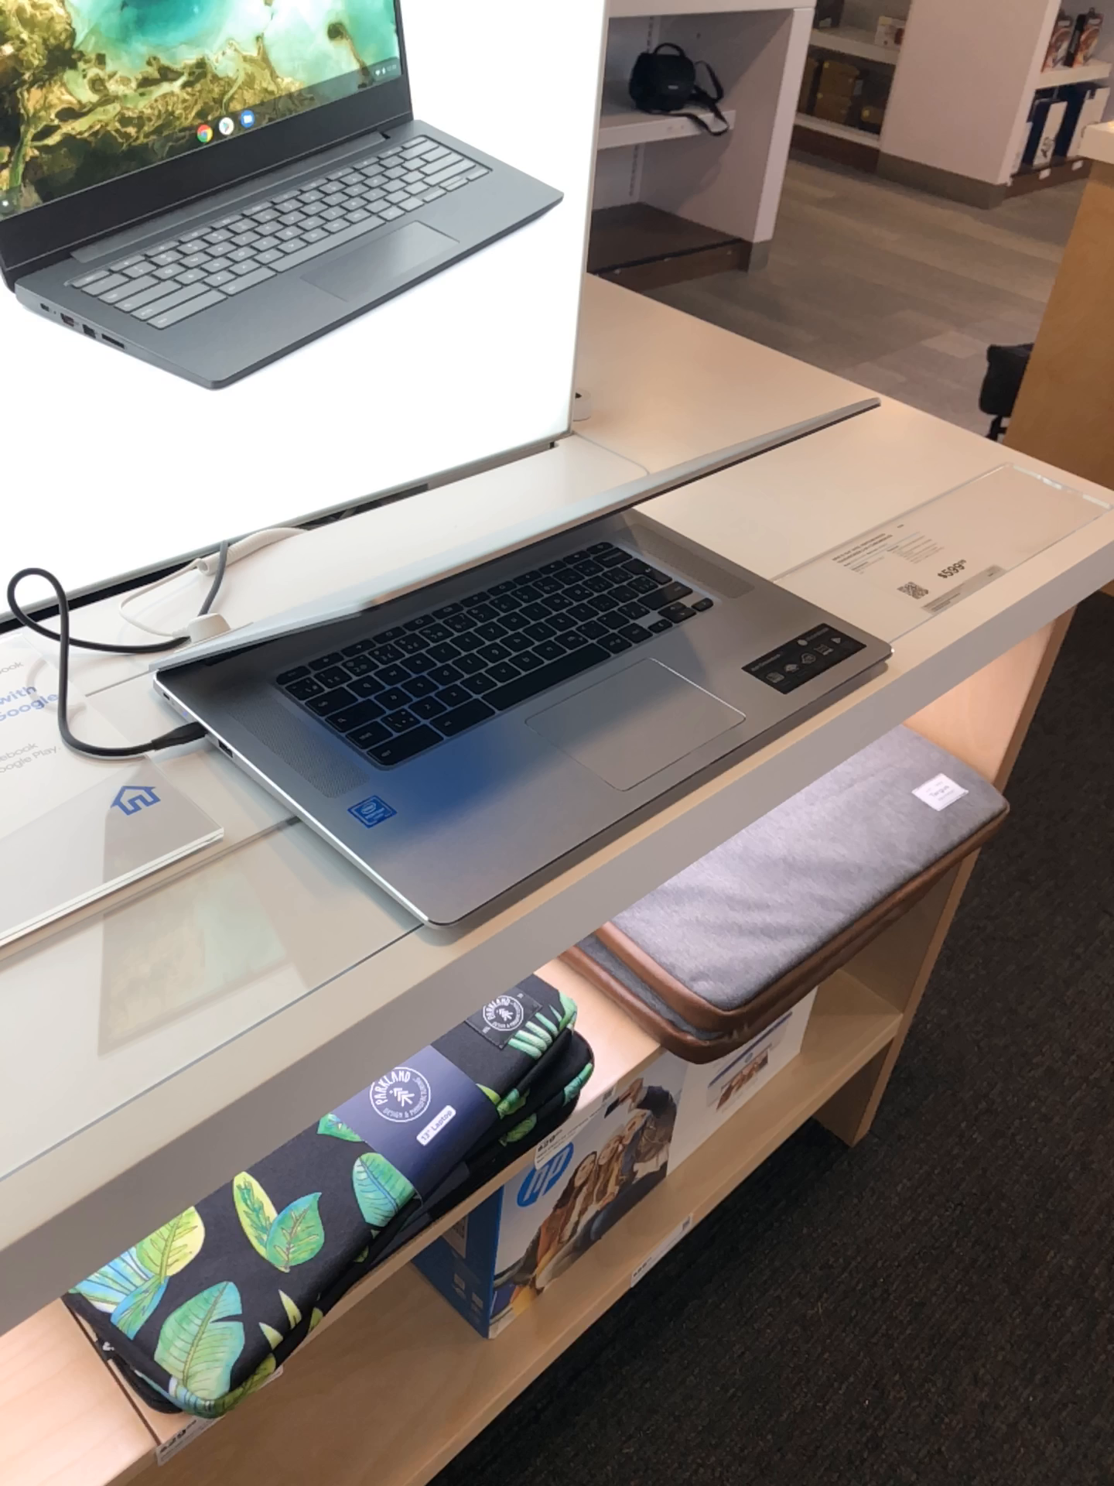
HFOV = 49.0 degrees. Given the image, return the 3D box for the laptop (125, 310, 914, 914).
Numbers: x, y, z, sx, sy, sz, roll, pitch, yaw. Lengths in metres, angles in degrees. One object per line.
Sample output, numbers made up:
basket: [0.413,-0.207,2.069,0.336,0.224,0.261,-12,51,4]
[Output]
laptop: [-0.007,-0.105,0.686,0.231,0.146,0.366,34,44,30]
